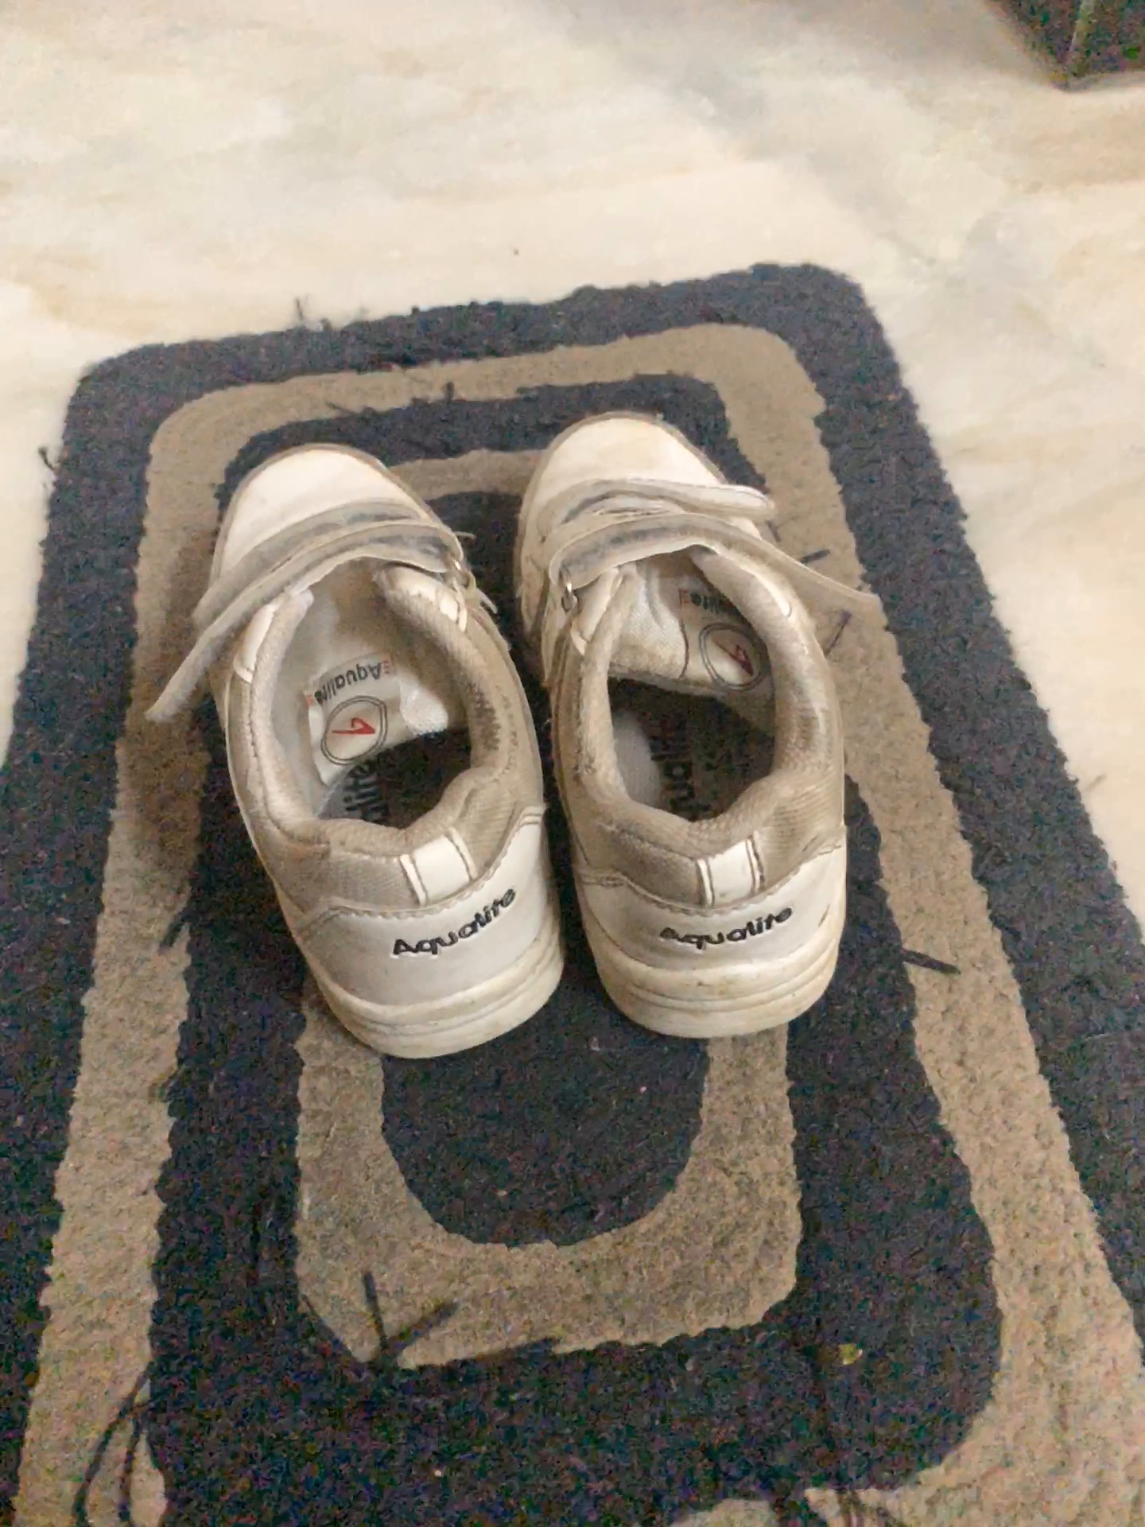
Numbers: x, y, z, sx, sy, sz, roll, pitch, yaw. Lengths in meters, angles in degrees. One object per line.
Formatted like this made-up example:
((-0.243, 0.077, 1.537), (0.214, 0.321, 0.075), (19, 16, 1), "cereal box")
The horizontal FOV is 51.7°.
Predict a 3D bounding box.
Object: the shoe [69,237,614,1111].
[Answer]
((-0.060, -0.030, 0.294), (0.080, 0.089, 0.191), (-17, 56, -8), "shoe")

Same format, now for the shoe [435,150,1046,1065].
((0.023, -0.046, 0.284), (0.080, 0.089, 0.201), (-10, 55, -3), "shoe")
